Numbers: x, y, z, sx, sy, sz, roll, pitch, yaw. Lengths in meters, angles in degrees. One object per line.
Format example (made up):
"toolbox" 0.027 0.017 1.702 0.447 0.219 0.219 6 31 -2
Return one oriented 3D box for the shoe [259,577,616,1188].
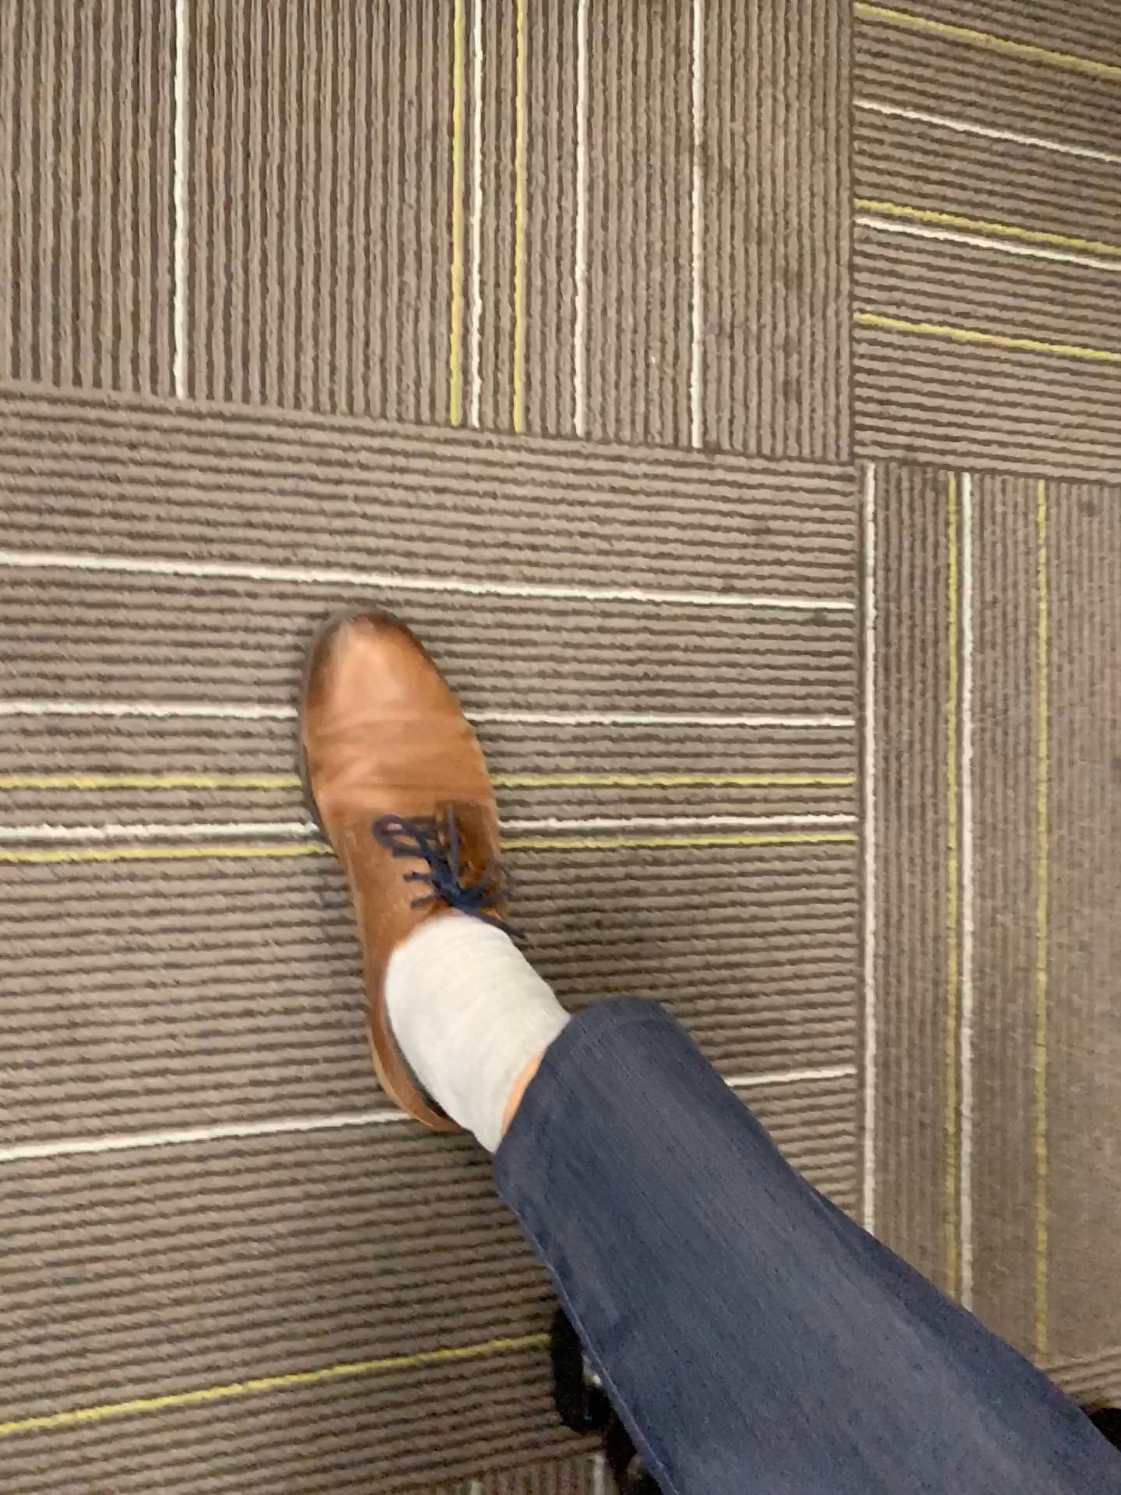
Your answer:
"shoe" -0.064 0.063 0.589 0.112 0.068 0.276 -14 94 -19
